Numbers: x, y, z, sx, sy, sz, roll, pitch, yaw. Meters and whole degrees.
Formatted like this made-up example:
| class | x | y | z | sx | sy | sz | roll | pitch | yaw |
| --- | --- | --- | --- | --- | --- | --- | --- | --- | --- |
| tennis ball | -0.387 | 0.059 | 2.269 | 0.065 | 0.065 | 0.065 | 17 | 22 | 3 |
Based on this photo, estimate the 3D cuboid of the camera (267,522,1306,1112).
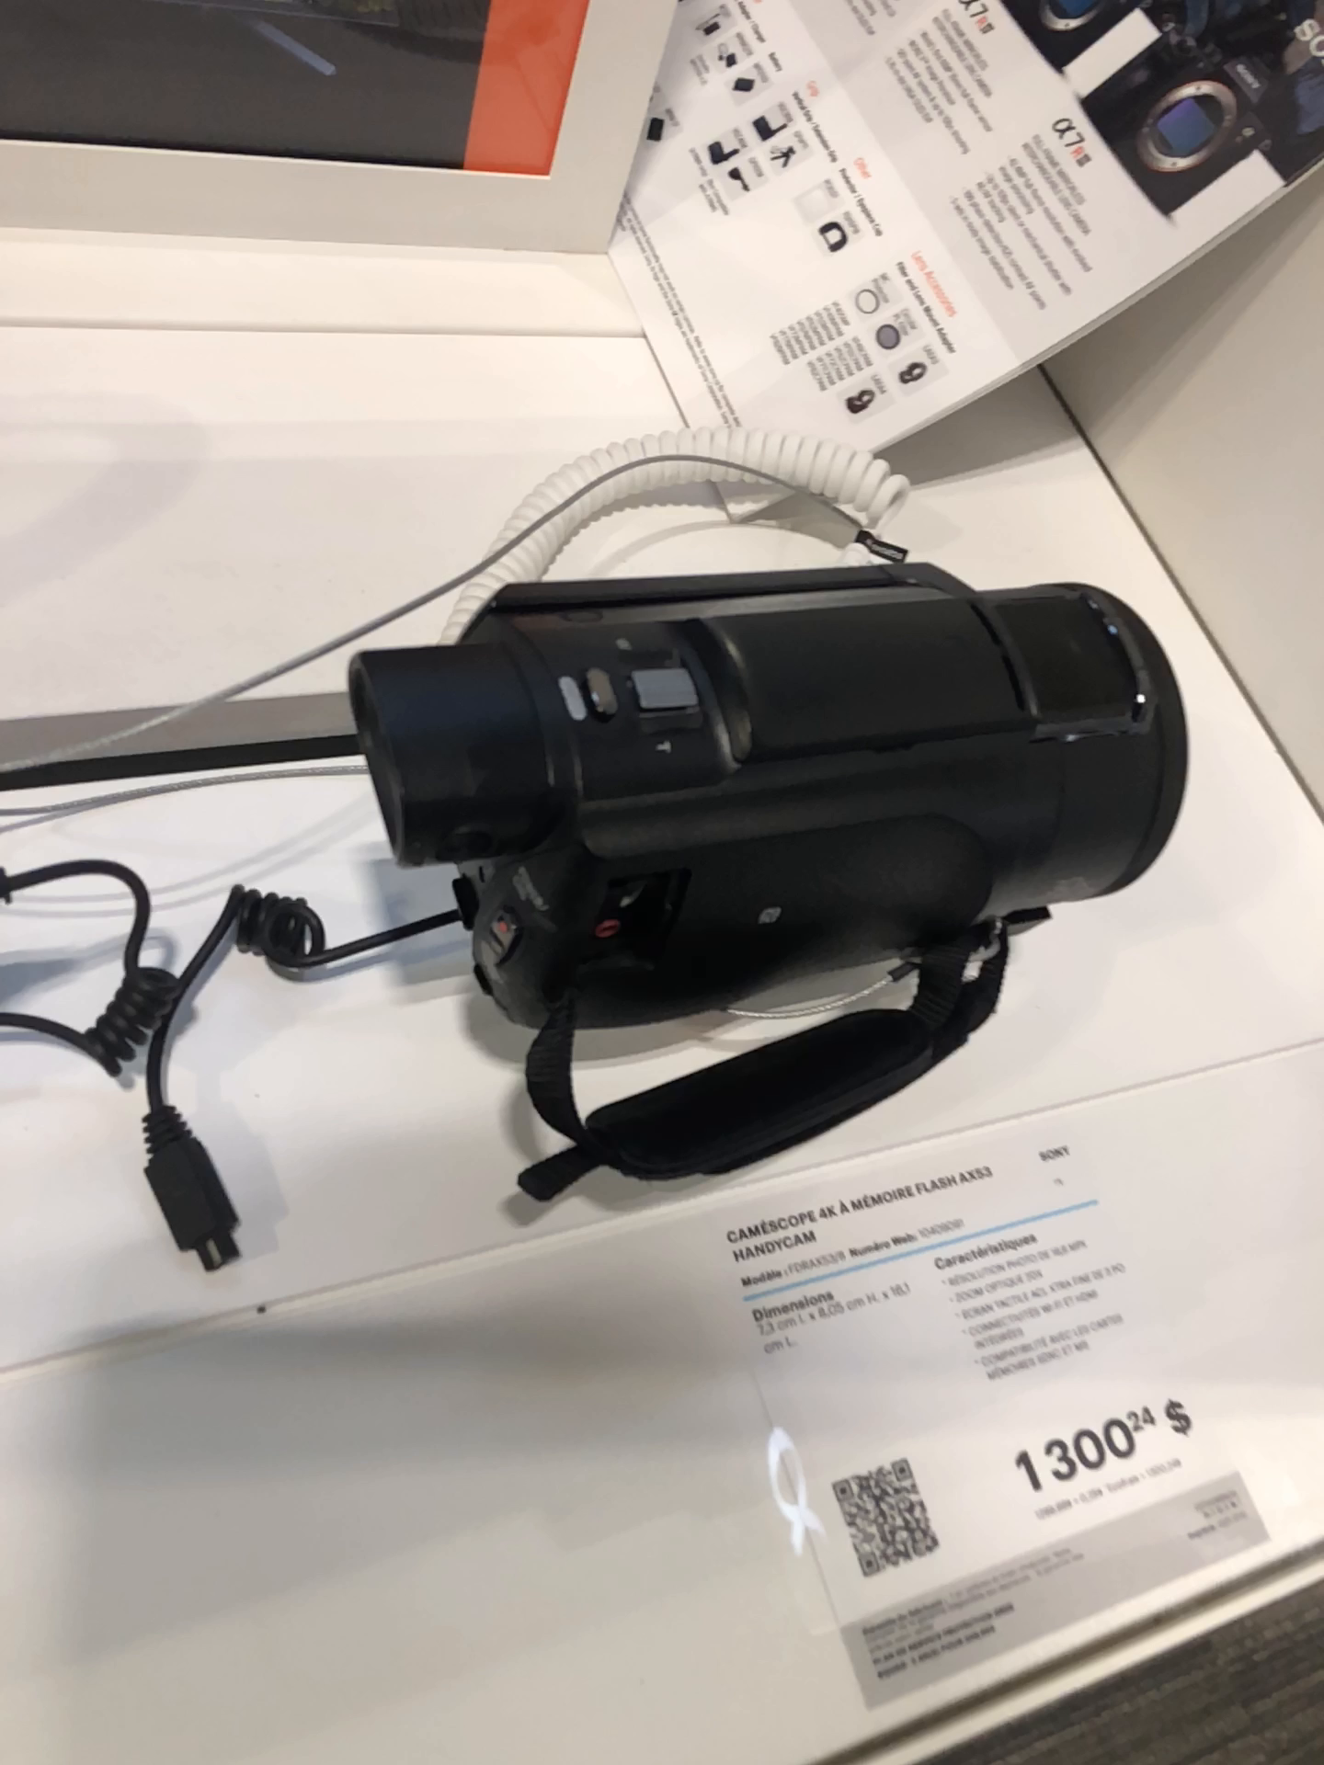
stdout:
| class | x | y | z | sx | sy | sz | roll | pitch | yaw |
| --- | --- | --- | --- | --- | --- | --- | --- | --- | --- |
| camera | 0.021 | -0.016 | 0.269 | 0.168 | 0.066 | 0.061 | -9 | 61 | -24 |
